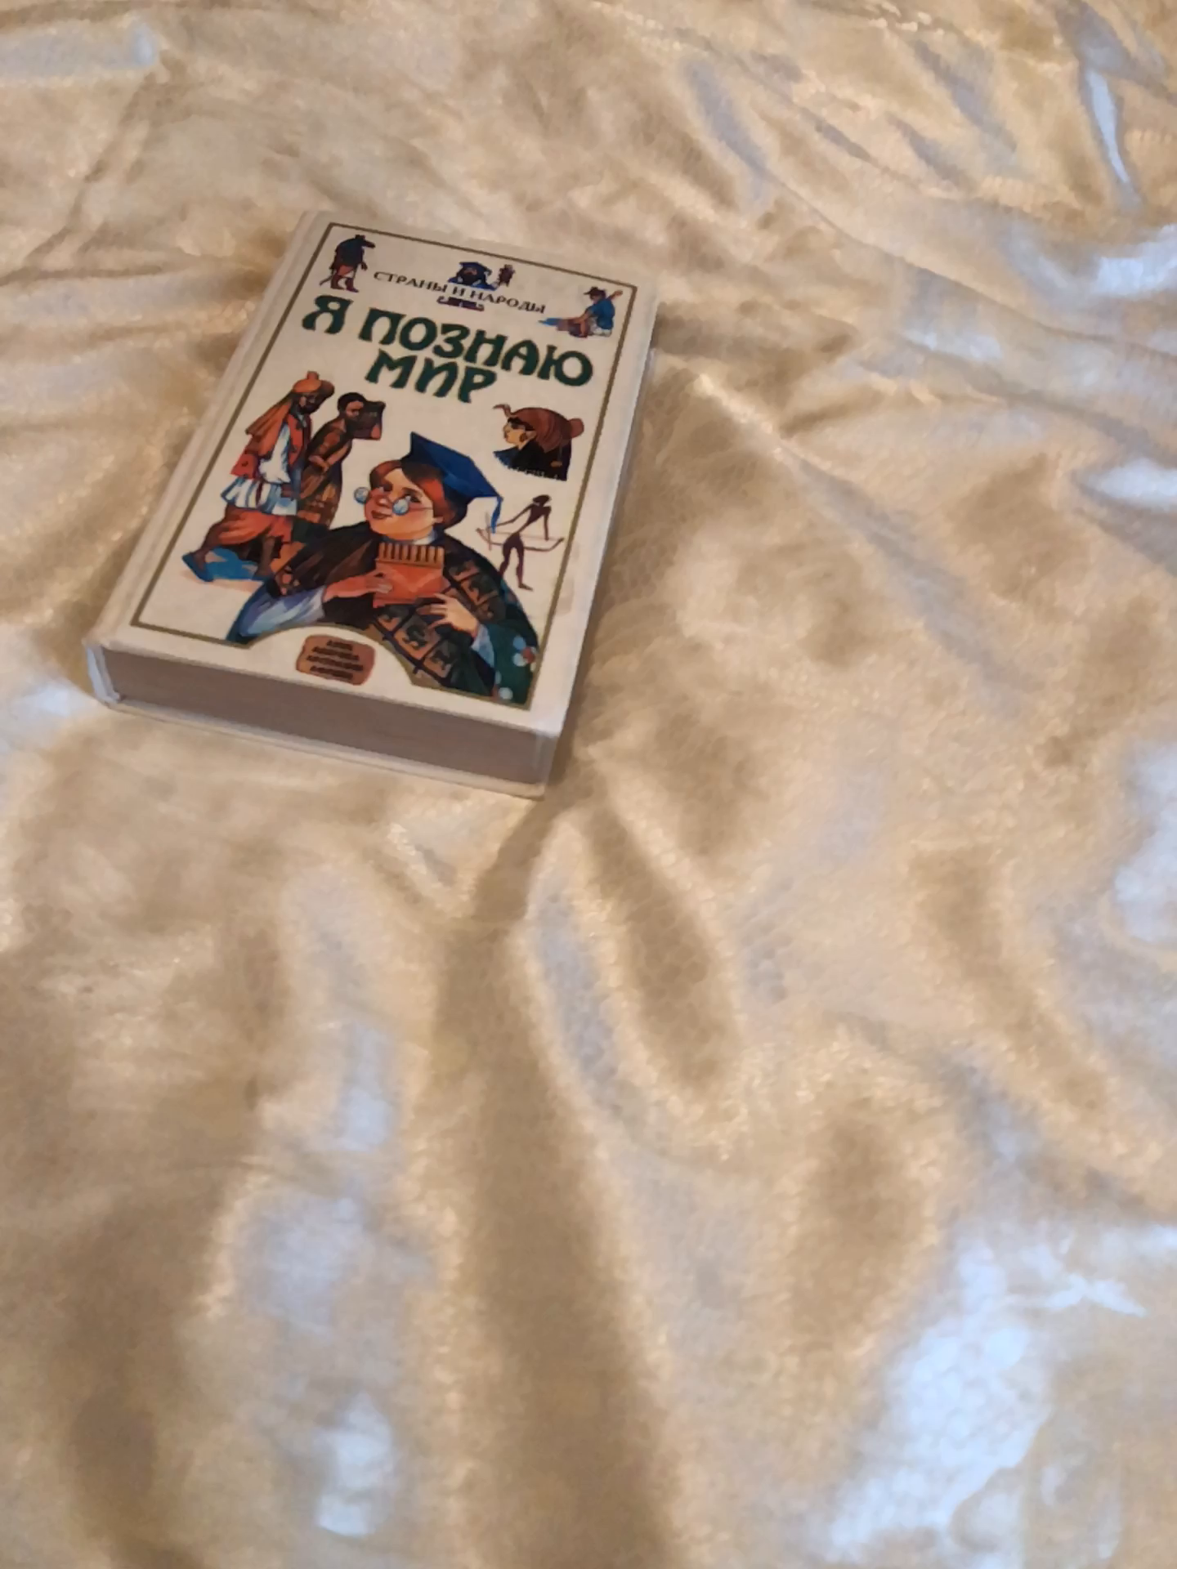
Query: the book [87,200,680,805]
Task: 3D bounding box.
[{"bbox_3d":[-0.052,-0.099,0.412,0.134,0.037,0.198,12,56,-1],"label":"book"}]
